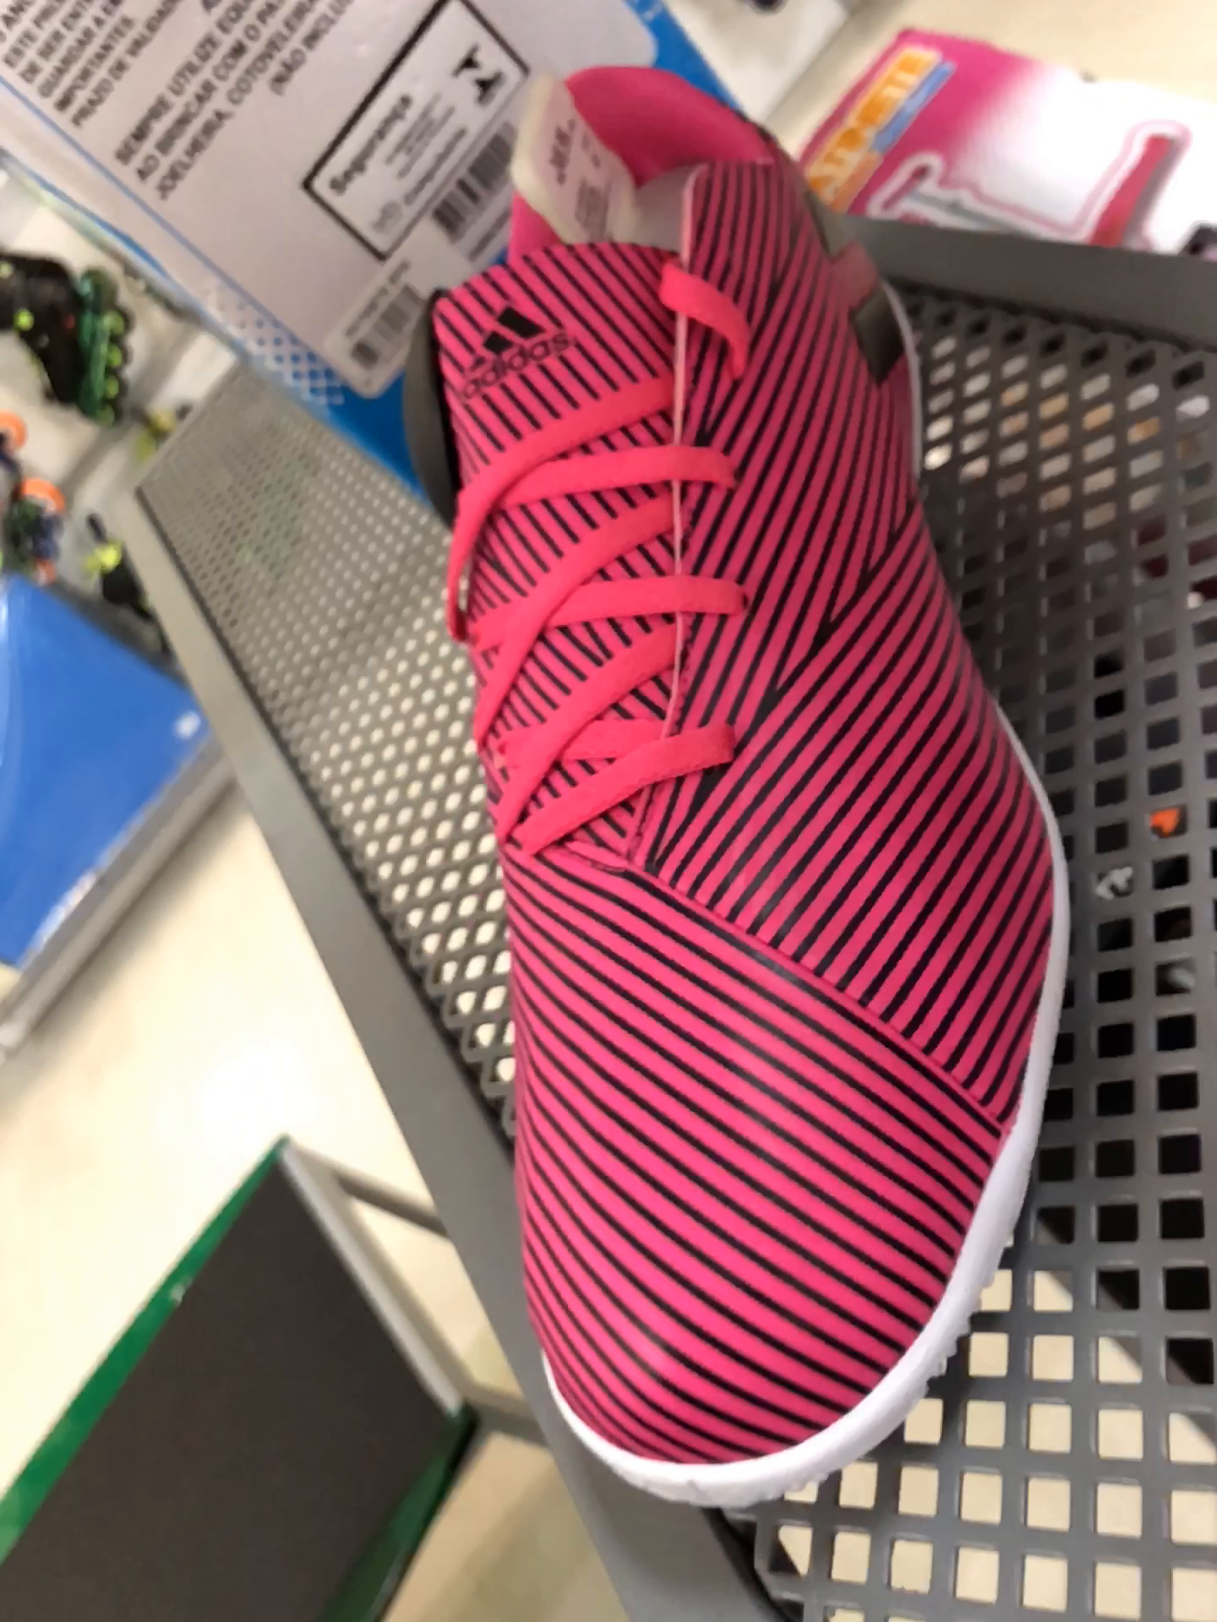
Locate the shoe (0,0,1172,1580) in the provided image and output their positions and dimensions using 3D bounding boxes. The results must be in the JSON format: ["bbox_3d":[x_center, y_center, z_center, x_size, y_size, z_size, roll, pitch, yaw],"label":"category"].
[{"bbox_3d":[0.011,-0.027,0.232,0.096,0.099,0.261,-23,45,36],"label":"shoe"}]
